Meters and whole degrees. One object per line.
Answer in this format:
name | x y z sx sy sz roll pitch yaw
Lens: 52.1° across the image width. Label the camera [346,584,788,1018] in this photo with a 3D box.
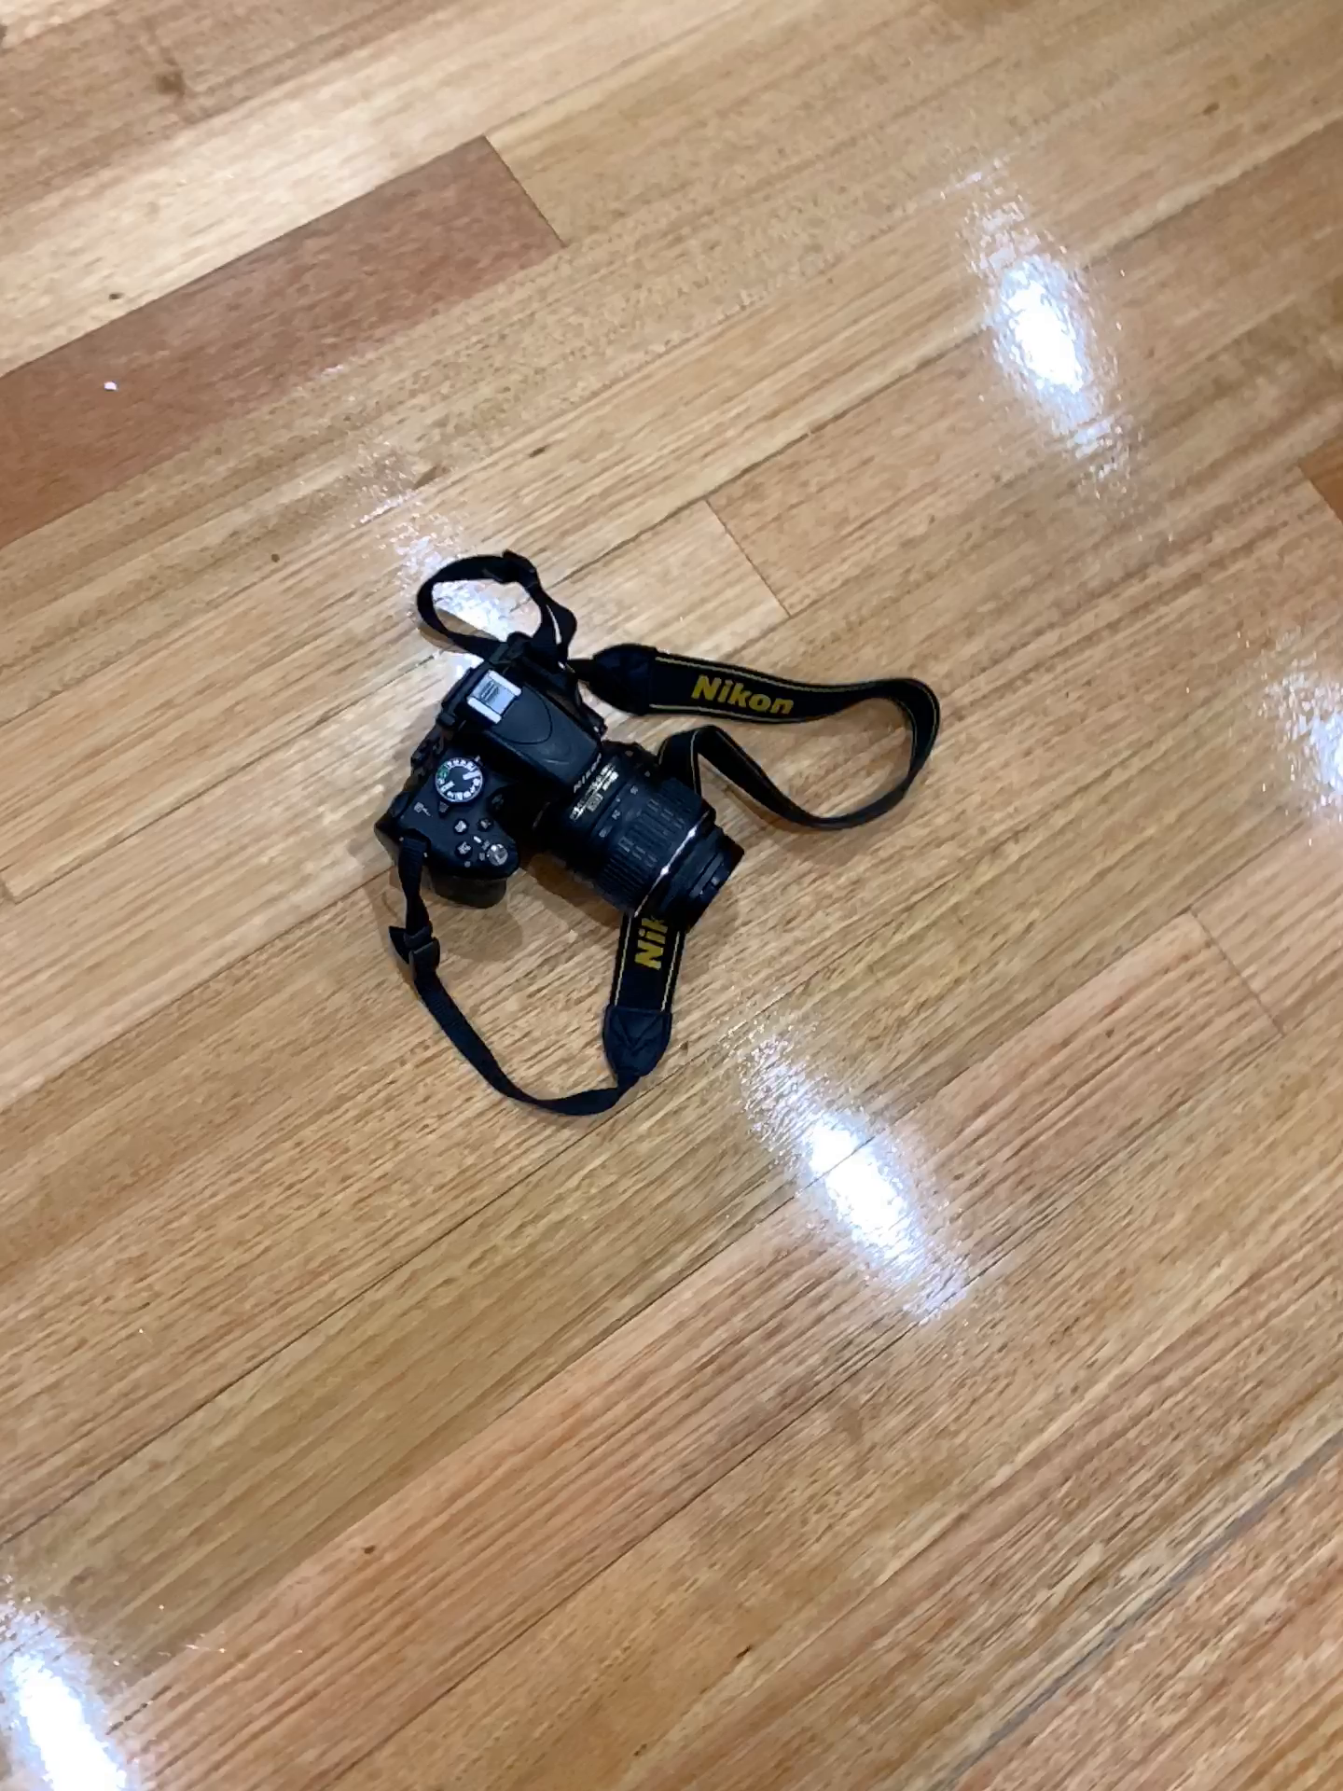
camera | -0.052 -0.042 0.685 0.160 0.100 0.130 31 76 1
